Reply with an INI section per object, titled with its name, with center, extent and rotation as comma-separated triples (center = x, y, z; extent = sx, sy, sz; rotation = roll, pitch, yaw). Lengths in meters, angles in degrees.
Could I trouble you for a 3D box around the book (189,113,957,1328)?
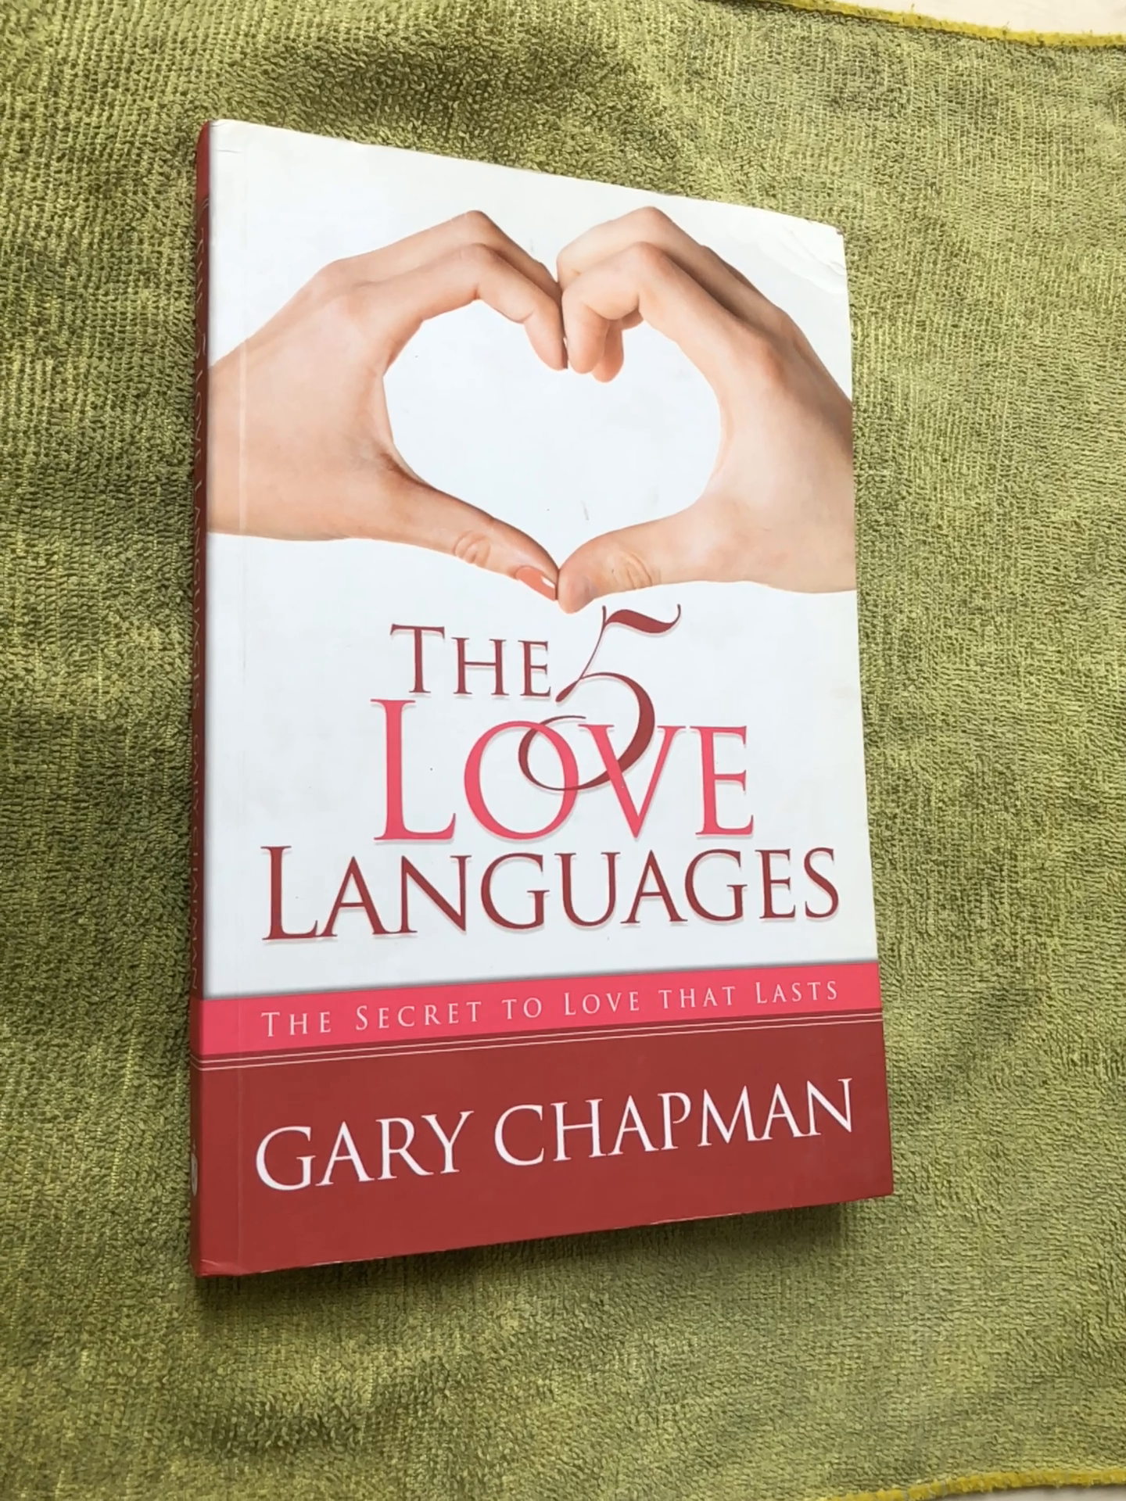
[book]
center = 0.002, -0.008, 0.242
extent = 0.140, 0.030, 0.200
rotation = 0, 84, -20
